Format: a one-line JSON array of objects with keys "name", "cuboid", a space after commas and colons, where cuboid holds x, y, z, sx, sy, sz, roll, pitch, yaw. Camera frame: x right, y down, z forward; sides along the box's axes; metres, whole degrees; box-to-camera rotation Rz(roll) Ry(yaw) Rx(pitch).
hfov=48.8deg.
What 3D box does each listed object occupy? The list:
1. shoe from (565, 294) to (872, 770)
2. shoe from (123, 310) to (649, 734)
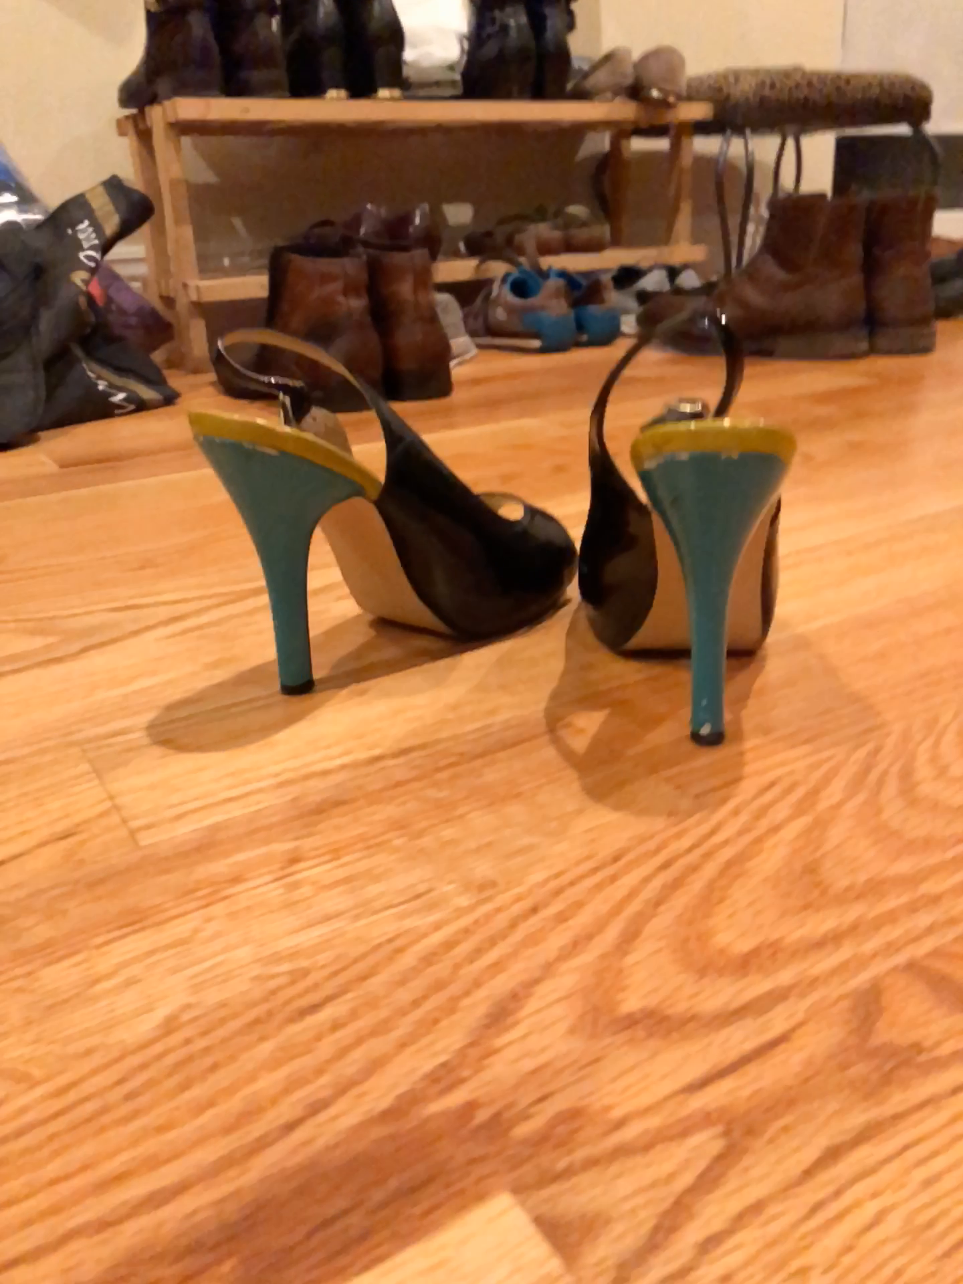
[{"name": "shoe", "cuboid": [0.076, -0.058, 0.415, 0.085, 0.131, 0.202, -1, 22, 5]}, {"name": "shoe", "cuboid": [-0.026, -0.065, 0.445, 0.085, 0.121, 0.204, 17, 29, 41]}]
